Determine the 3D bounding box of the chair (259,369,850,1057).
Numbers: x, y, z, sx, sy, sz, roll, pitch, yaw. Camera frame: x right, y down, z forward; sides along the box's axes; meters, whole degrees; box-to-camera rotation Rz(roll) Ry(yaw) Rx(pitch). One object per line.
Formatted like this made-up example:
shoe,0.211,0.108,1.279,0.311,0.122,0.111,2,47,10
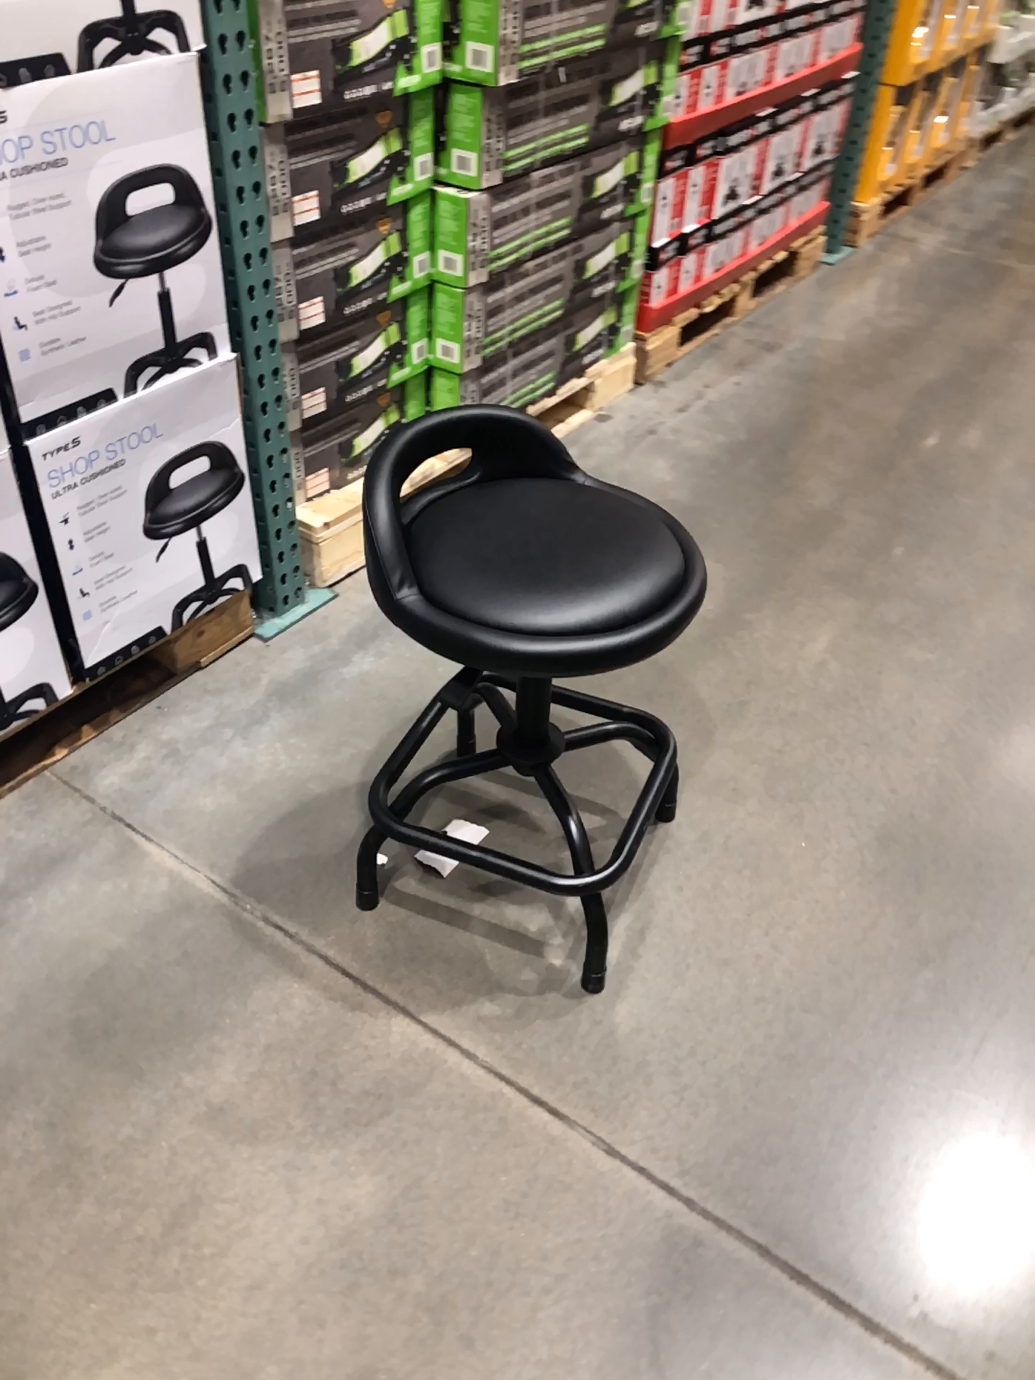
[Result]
chair,0.046,0.008,1.557,0.502,0.627,0.521,27,45,27
